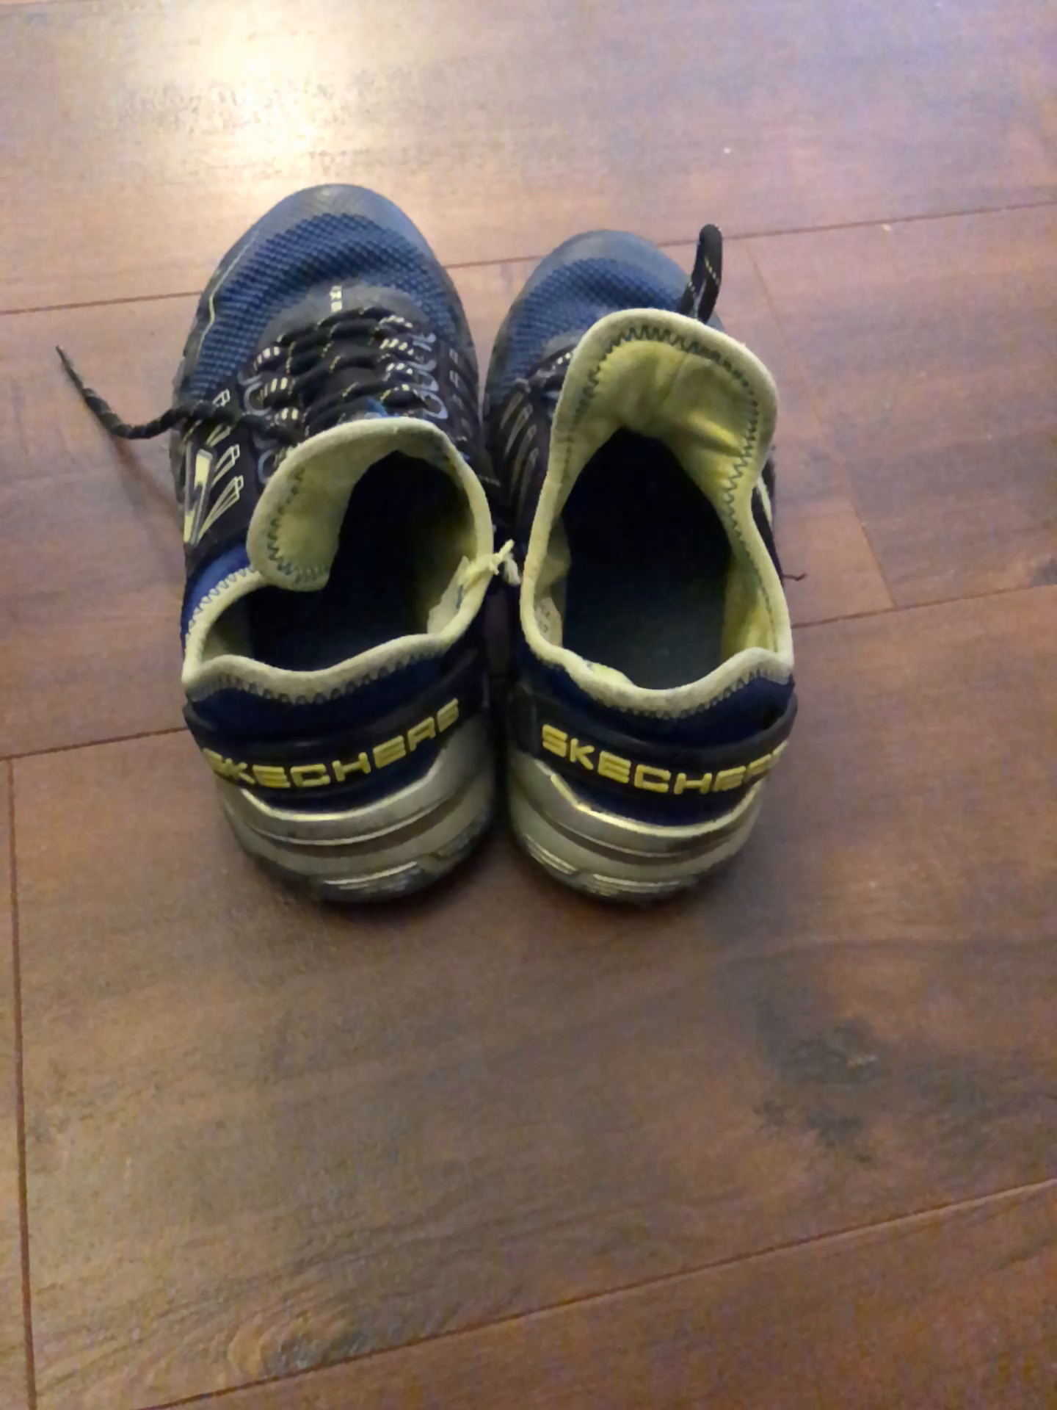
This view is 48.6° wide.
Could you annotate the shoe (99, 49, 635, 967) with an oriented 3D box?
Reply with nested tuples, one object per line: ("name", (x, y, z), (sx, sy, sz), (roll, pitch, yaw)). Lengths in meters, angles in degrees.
("shoe", (-0.048, -0.053, 0.319), (0.100, 0.120, 0.211), (-5, 64, -7))

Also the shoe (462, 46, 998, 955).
("shoe", (0.040, -0.053, 0.322), (0.100, 0.120, 0.211), (4, 63, -3))
